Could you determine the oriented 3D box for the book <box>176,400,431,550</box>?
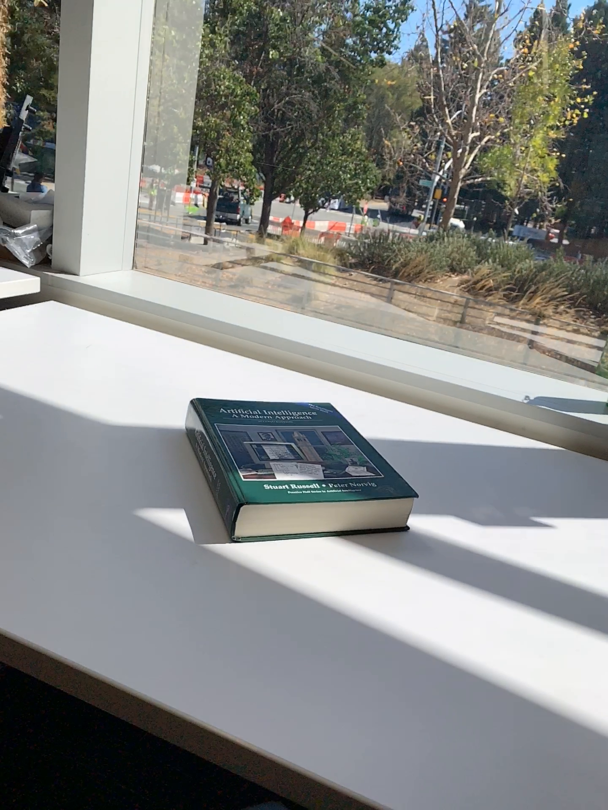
[{"bbox_3d":[-0.016,0.072,0.763,0.230,0.050,0.261,2,23,-23],"label":"book"}]
